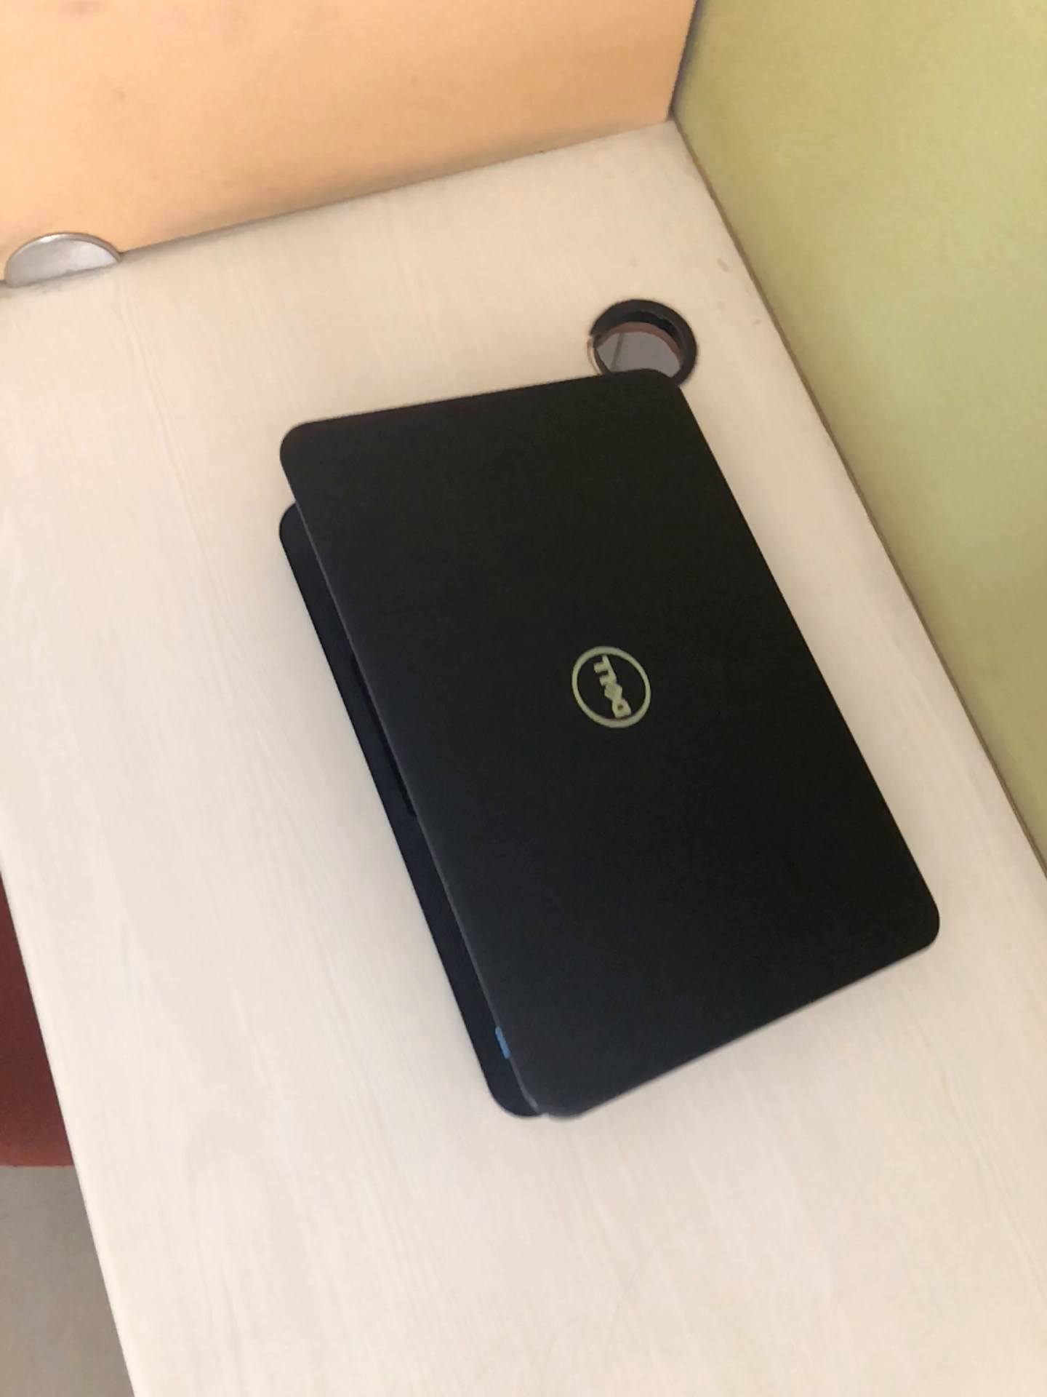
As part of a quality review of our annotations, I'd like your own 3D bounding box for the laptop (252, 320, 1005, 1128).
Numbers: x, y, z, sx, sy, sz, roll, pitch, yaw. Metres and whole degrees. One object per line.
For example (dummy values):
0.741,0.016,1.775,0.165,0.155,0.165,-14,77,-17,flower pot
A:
0.041,0.002,0.606,0.246,0.079,0.353,-20,75,-9,laptop
